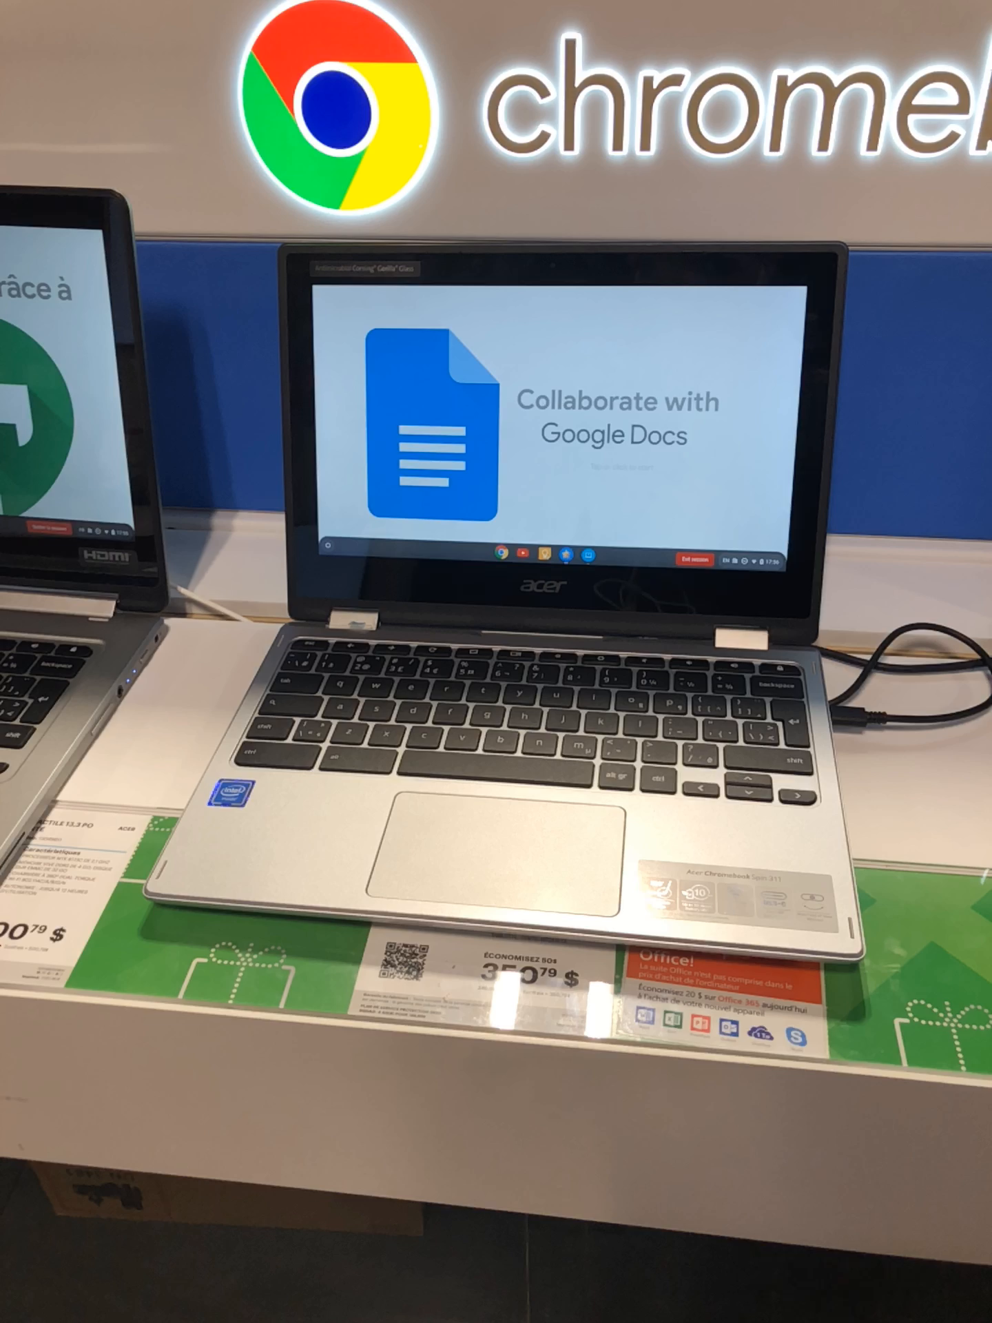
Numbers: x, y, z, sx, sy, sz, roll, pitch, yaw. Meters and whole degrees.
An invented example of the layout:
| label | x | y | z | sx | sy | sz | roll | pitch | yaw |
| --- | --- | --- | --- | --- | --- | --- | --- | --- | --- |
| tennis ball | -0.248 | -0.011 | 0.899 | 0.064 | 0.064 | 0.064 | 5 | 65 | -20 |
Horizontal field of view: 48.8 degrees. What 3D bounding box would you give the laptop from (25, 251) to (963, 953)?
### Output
| label | x | y | z | sx | sy | sz | roll | pitch | yaw |
| --- | --- | --- | --- | --- | --- | --- | --- | --- | --- |
| laptop | 0.012 | -0.050 | 0.491 | 0.284 | 0.181 | 0.274 | 3 | 37 | 7 |
